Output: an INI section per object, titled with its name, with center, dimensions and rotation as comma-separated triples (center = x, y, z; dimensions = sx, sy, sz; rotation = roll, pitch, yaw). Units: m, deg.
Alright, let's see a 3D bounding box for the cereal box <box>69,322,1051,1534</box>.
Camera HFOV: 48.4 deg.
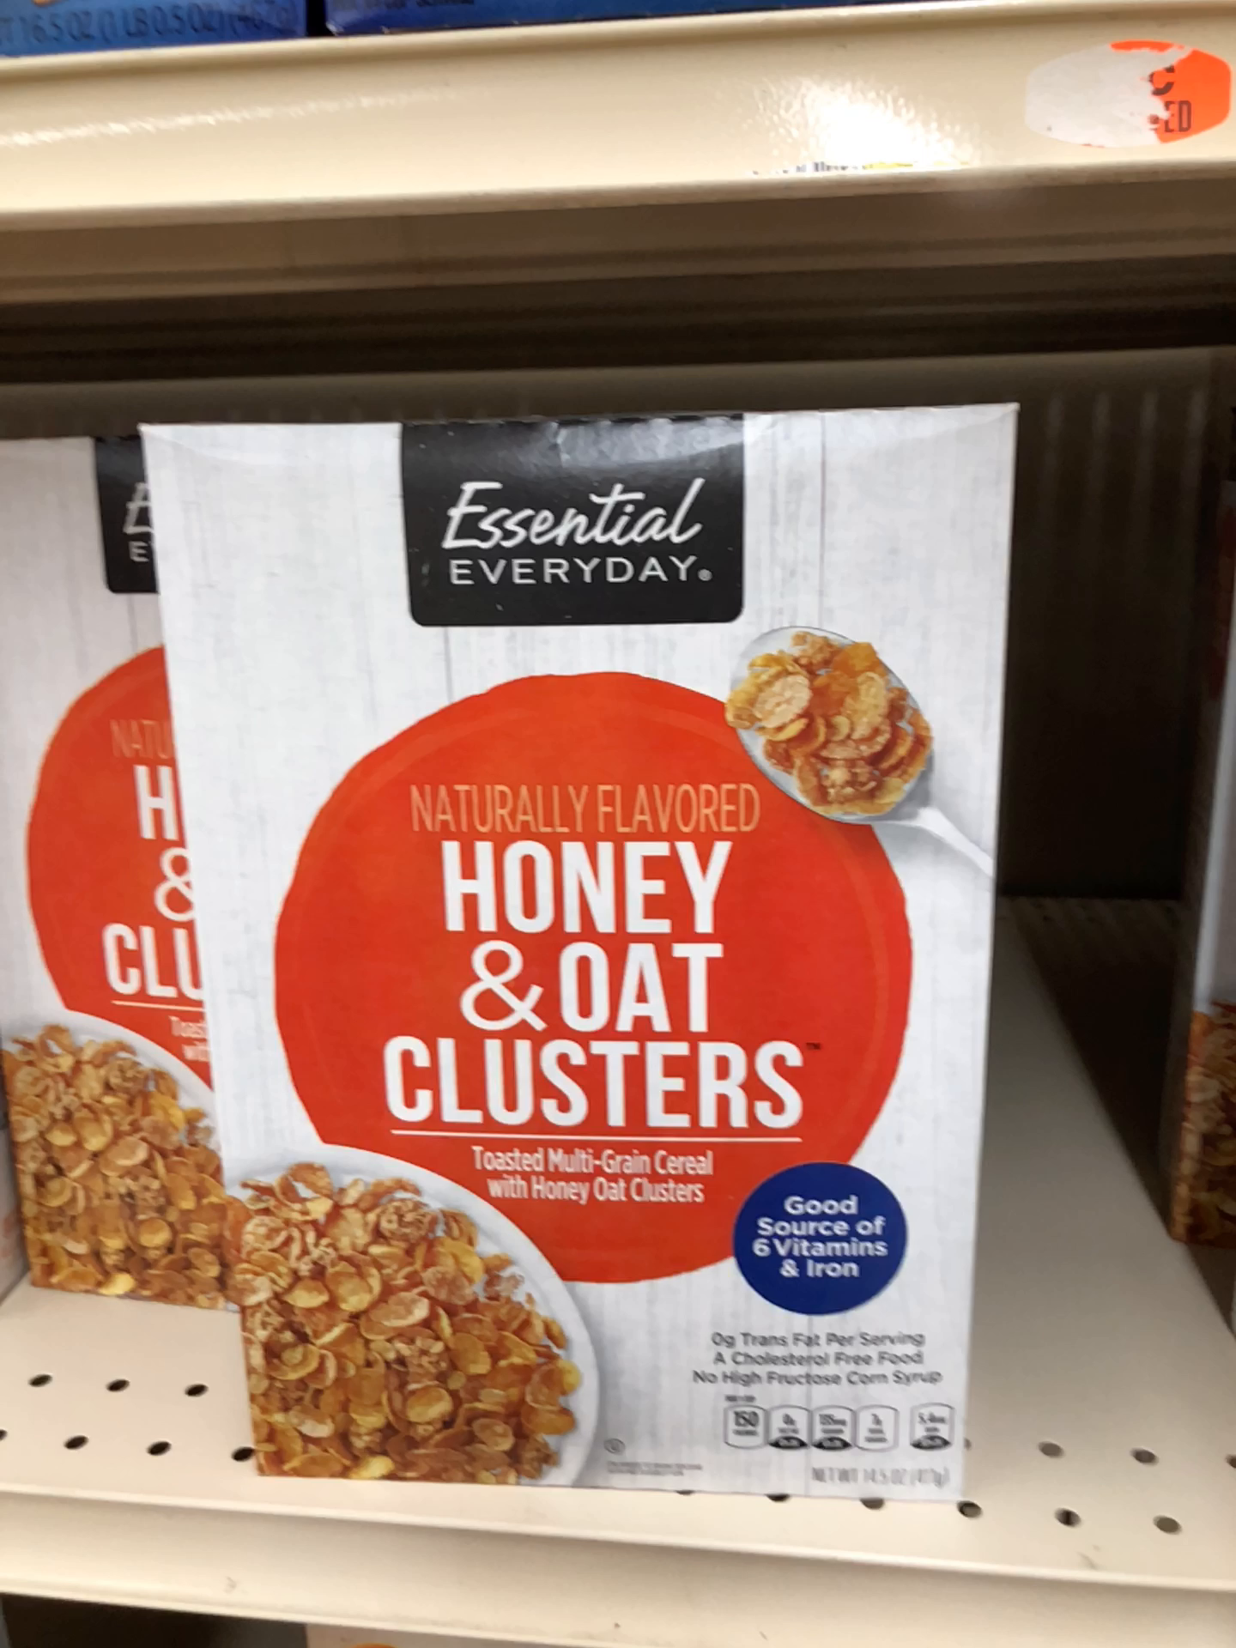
[cereal box]
center = -0.009, 0.032, 0.365
dimensions = 0.210, 0.299, 0.070
rotation = 0, 16, 6
